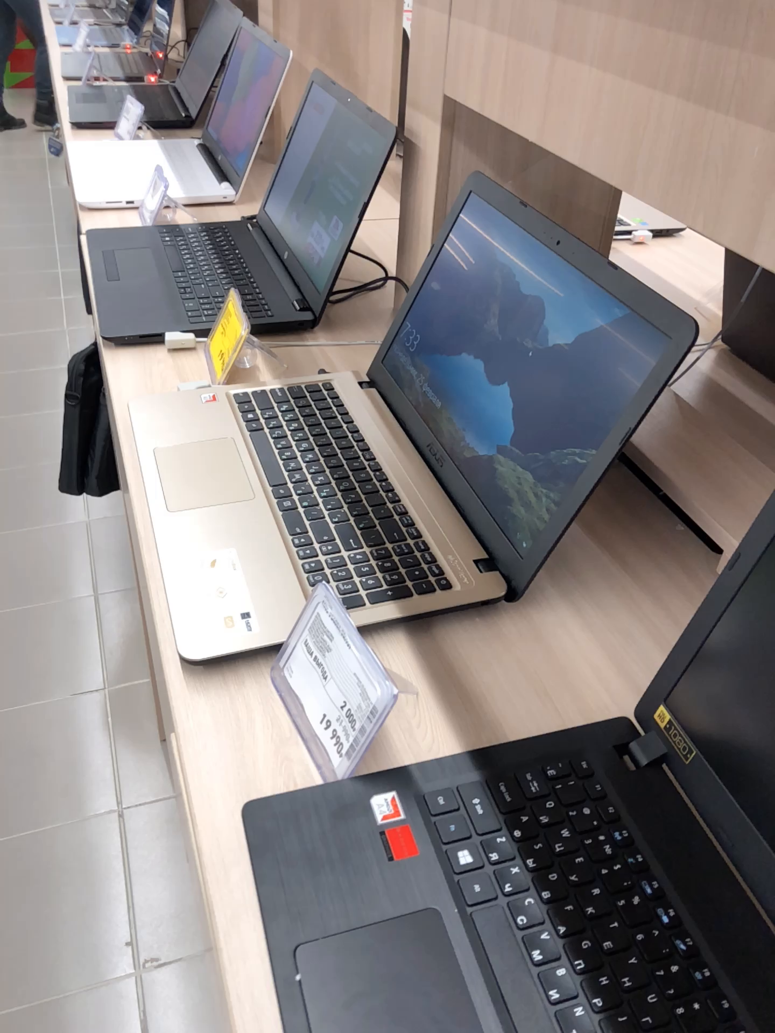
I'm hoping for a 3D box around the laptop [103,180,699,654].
[{"bbox_3d":[-0.029,-0.119,0.715,0.350,0.208,0.368,-9,37,-16],"label":"laptop"}]
